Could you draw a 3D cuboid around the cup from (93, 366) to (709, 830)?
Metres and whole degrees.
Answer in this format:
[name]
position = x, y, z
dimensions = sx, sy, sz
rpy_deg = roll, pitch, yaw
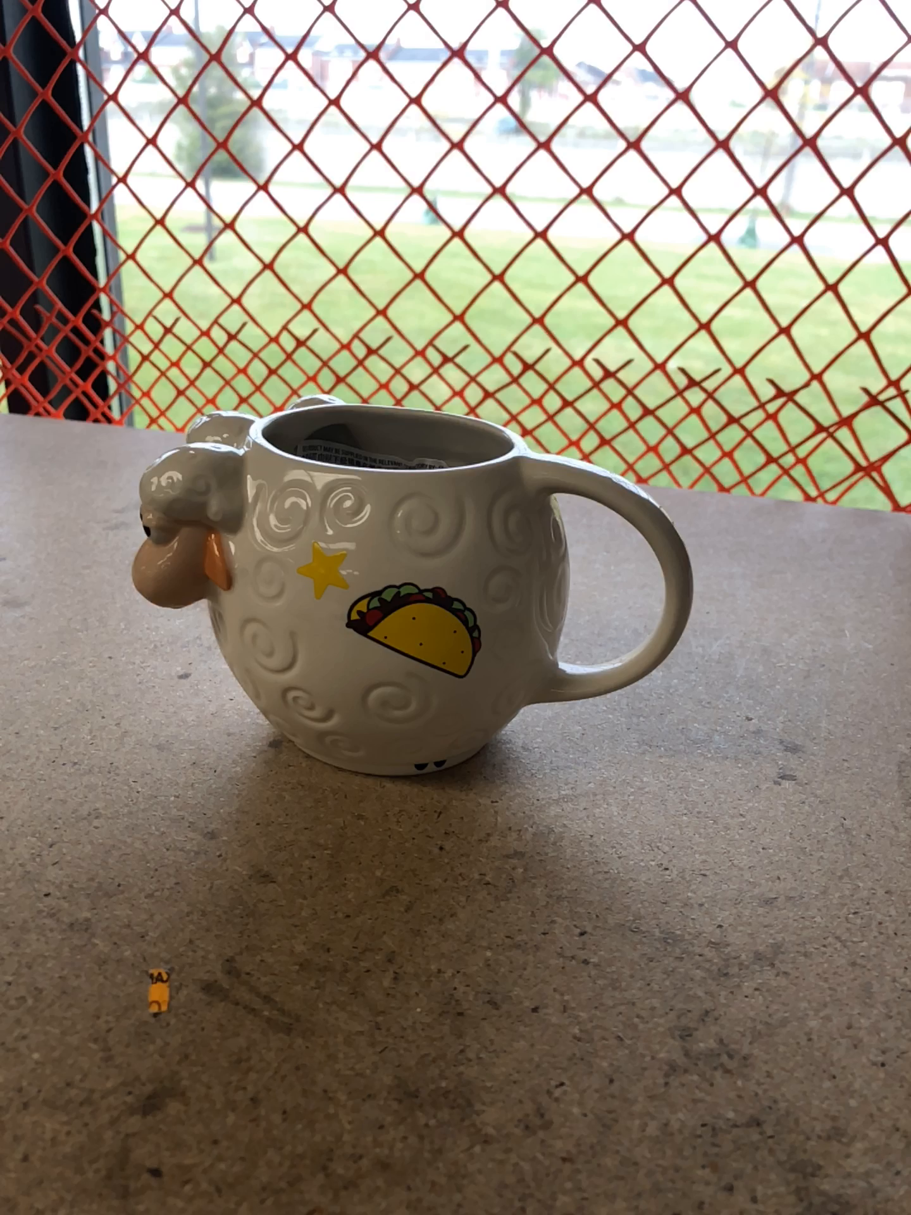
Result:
[cup]
position = -0.010, -0.010, 0.286
dimensions = 0.146, 0.090, 0.076
rpy_deg = 7, 25, 12
